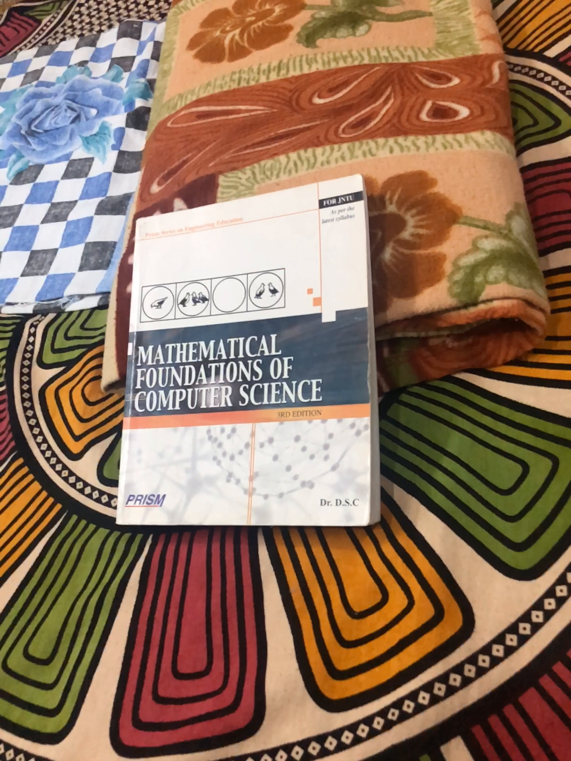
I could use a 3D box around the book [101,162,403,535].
[{"bbox_3d":[-0.021,-0.015,0.448,0.190,0.060,0.240,-6,72,21],"label":"book"}]
